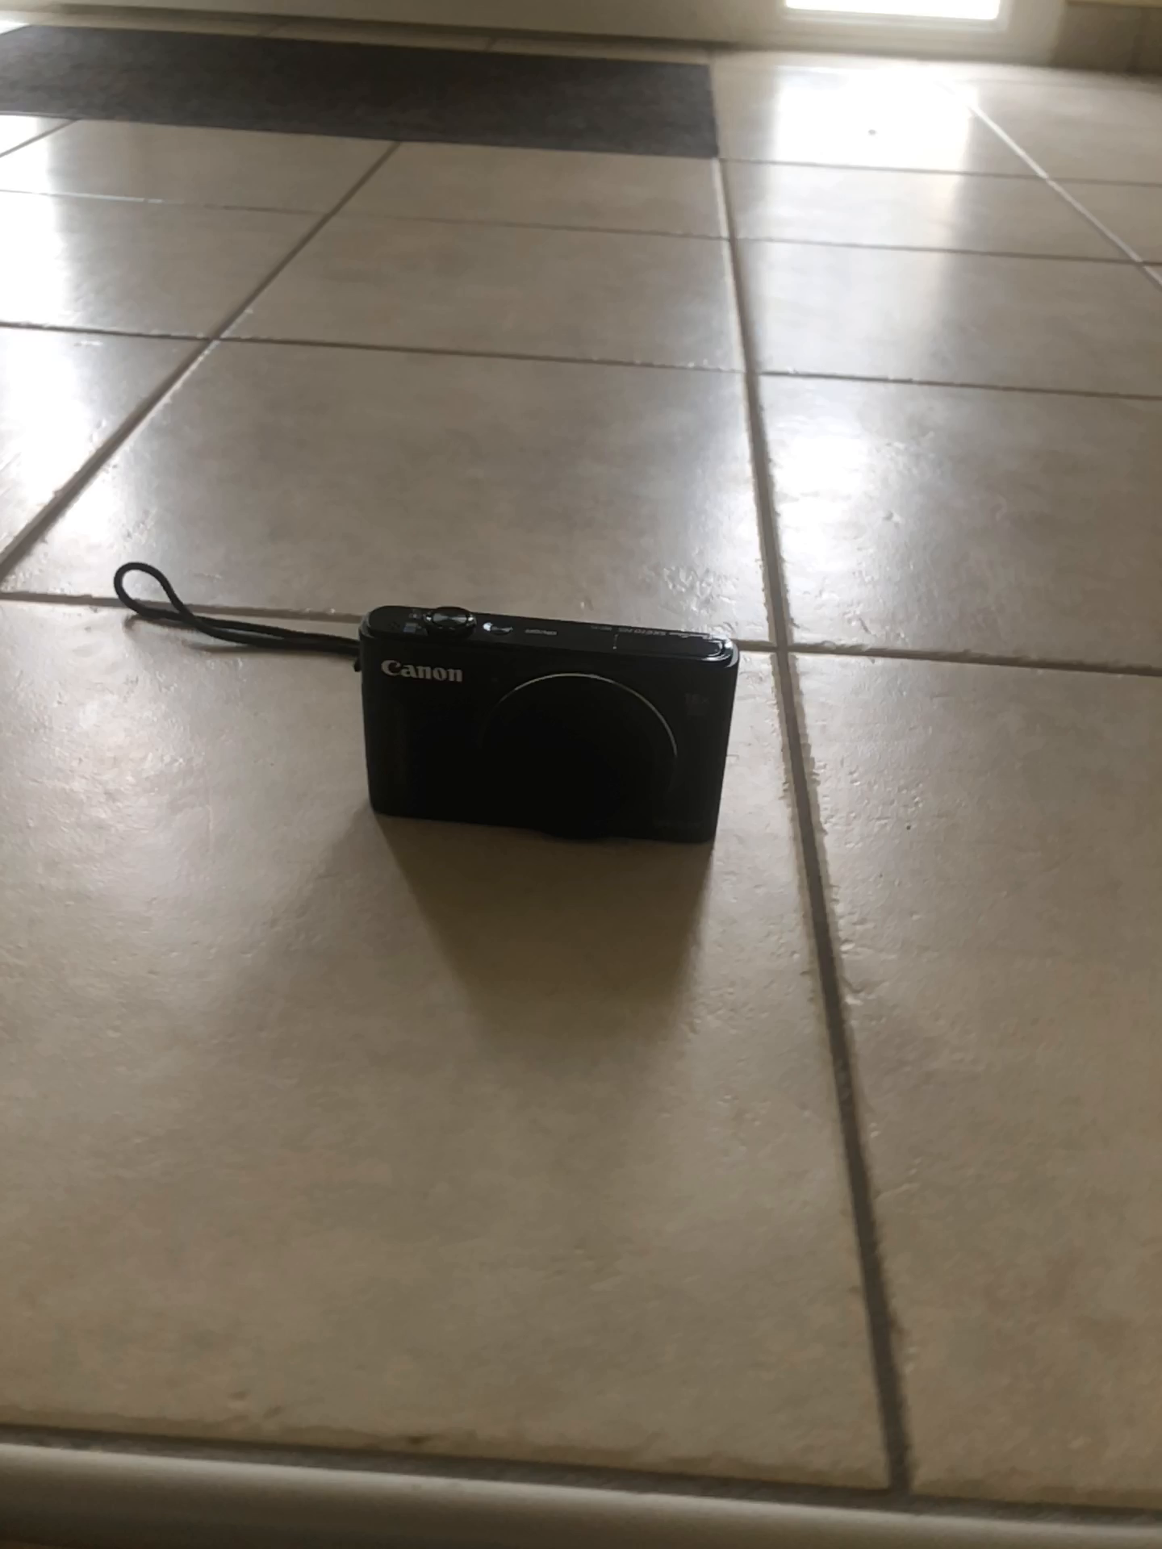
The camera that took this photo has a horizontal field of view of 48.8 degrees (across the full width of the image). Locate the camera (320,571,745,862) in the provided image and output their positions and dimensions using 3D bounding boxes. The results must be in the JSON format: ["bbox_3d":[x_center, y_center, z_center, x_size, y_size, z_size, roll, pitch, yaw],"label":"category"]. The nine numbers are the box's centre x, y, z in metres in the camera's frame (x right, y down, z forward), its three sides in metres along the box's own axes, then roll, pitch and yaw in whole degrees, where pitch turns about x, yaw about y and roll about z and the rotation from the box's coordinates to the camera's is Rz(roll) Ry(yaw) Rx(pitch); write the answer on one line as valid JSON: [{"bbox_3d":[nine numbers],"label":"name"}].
[{"bbox_3d":[-0.012,-0.017,0.363,0.110,0.060,0.040,6,35,4],"label":"camera"}]
